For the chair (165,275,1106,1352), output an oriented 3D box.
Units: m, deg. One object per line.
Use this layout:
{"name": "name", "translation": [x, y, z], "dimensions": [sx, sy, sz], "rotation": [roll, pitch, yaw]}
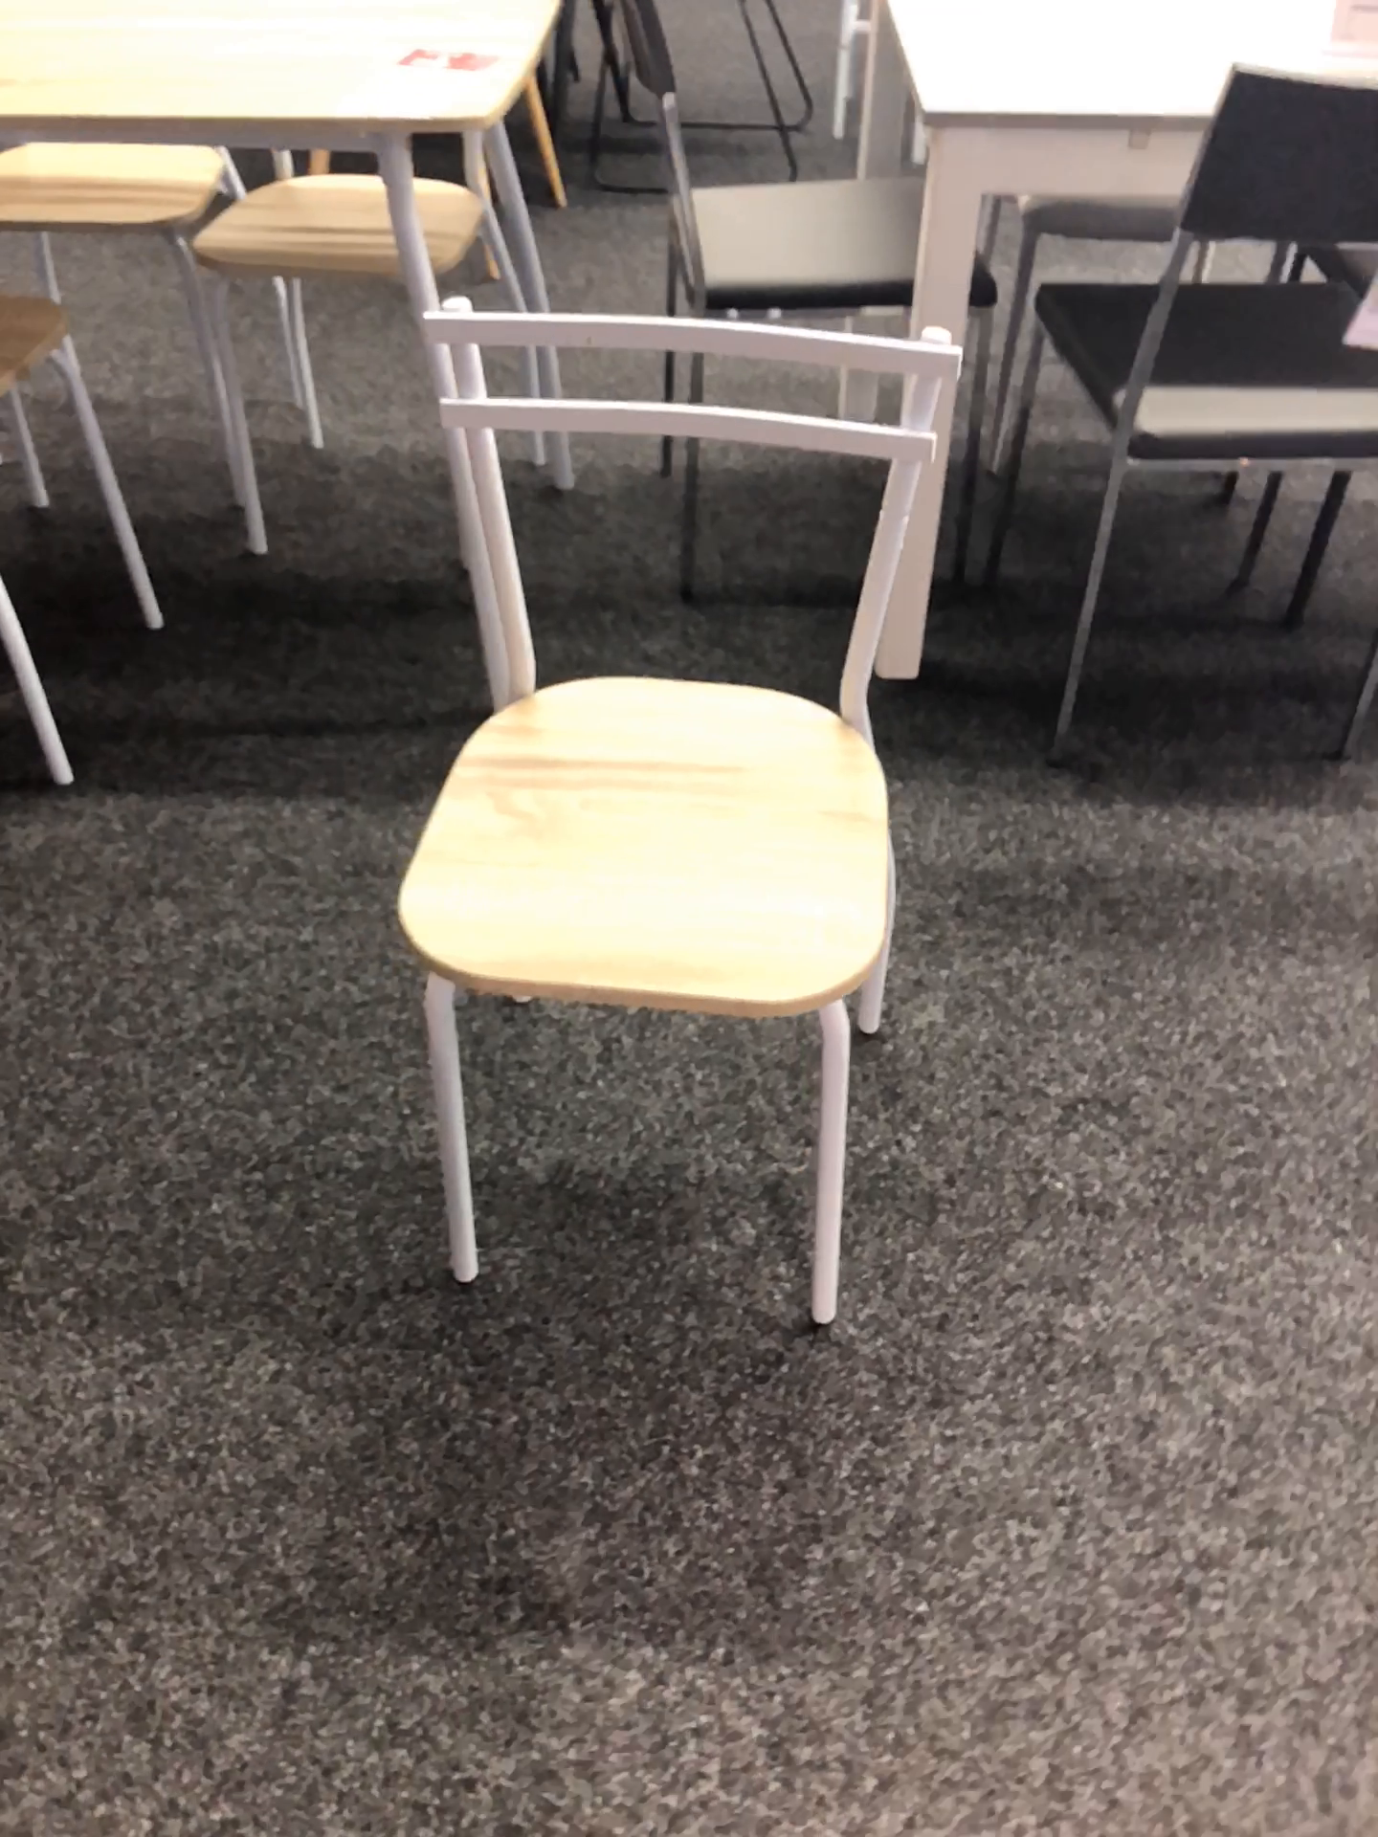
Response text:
{"name": "chair", "translation": [-0.023, -0.056, 1.211], "dimensions": [0.500, 0.726, 0.443], "rotation": [2, 43, 1]}
